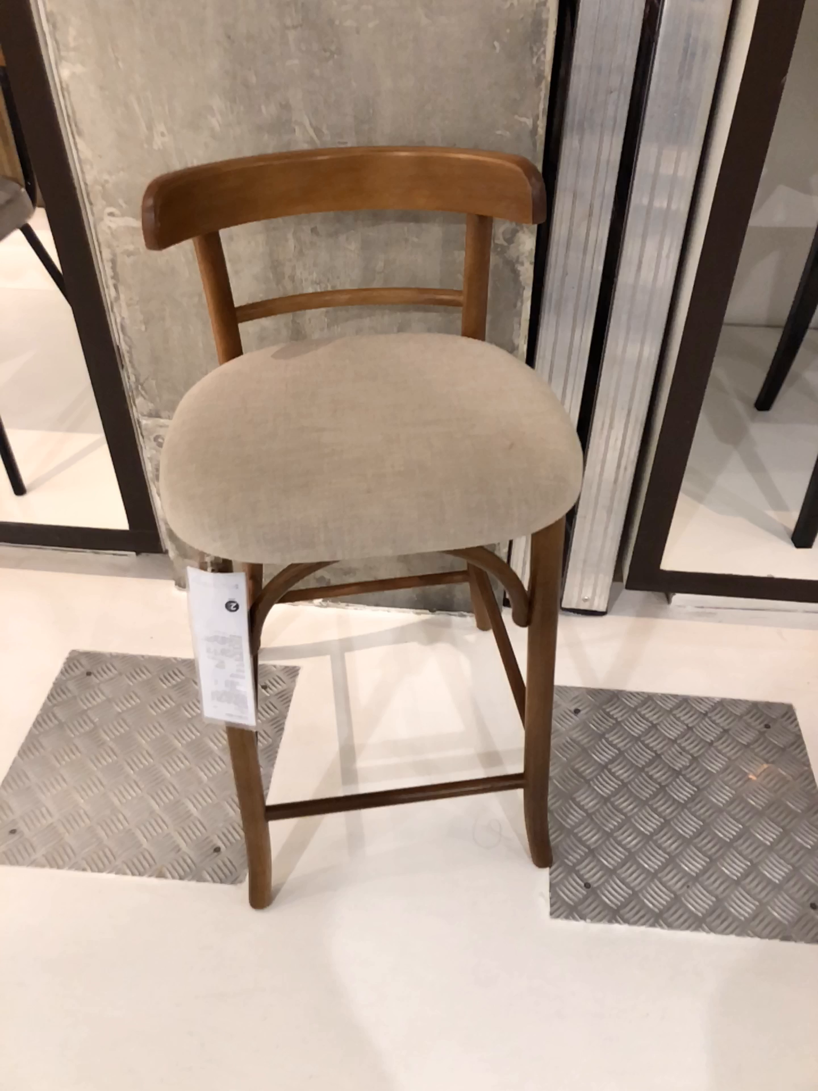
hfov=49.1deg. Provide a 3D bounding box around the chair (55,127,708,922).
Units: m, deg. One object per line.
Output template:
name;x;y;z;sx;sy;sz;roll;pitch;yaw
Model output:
chair;-0.050;-0.006;1.090;0.480;0.794;0.483;-6;41;-7
